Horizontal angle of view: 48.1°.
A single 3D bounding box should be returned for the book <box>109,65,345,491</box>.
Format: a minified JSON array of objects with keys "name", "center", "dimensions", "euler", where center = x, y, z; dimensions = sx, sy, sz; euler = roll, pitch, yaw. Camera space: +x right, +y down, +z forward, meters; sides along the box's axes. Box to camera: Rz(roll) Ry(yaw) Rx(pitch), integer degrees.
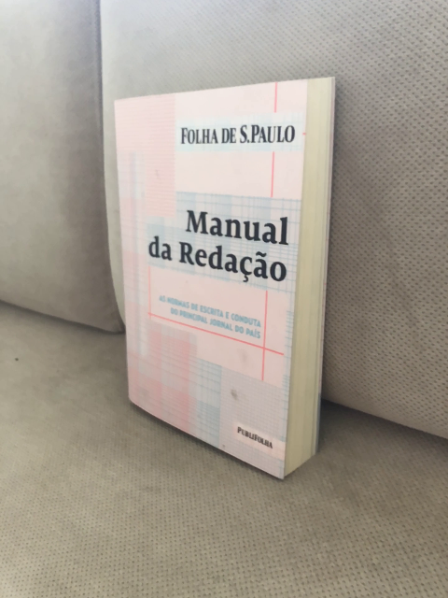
[{"name":"book","center":[-0.009,-0.018,0.336],"dimensions":[0.040,0.228,0.167],"euler":[-12,18,-43]}]
